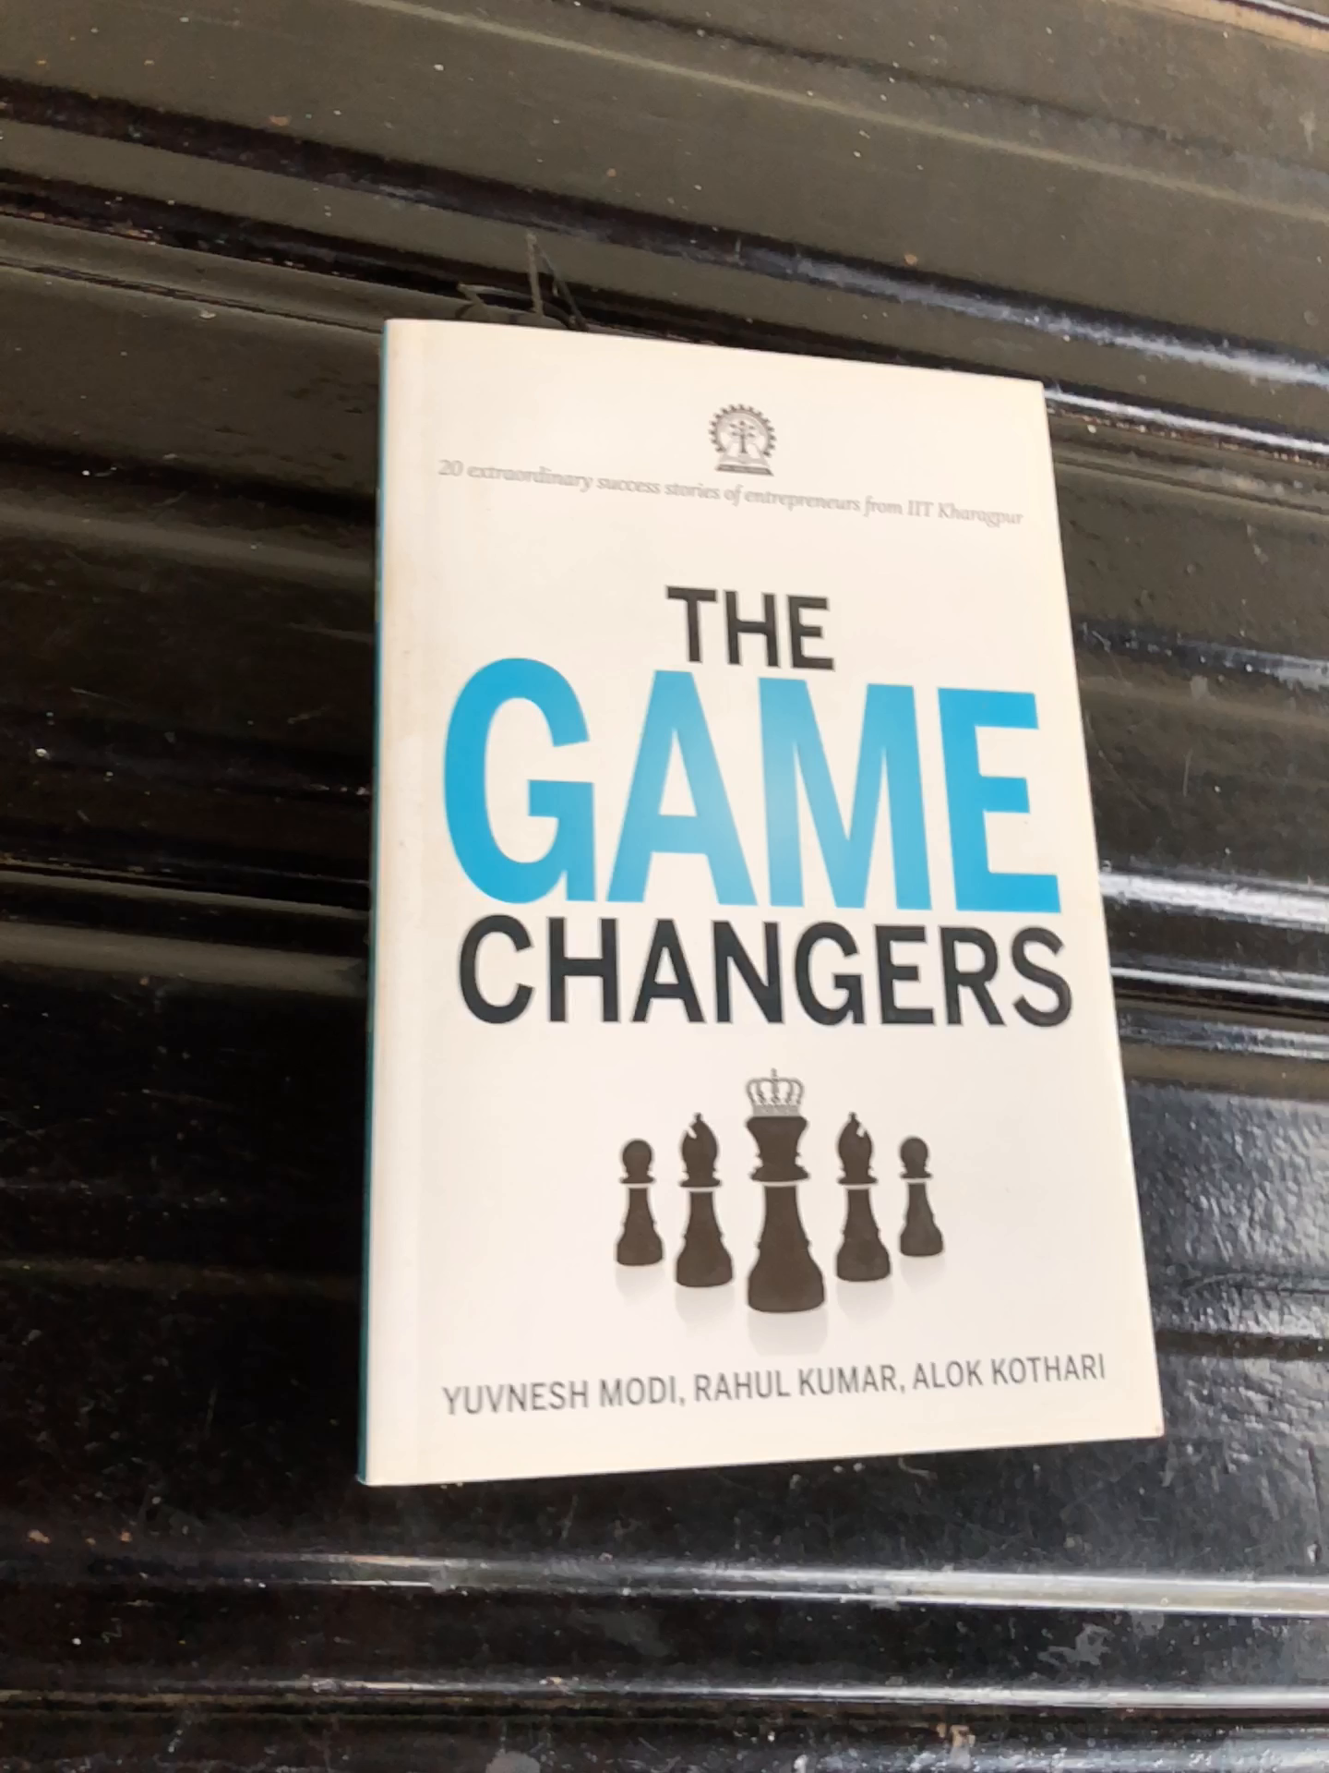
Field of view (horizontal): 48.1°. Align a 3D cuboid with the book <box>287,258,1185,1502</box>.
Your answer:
[{"bbox_3d":[0.009,-0.008,0.269,0.140,0.030,0.210,1,74,-11],"label":"book"}]
